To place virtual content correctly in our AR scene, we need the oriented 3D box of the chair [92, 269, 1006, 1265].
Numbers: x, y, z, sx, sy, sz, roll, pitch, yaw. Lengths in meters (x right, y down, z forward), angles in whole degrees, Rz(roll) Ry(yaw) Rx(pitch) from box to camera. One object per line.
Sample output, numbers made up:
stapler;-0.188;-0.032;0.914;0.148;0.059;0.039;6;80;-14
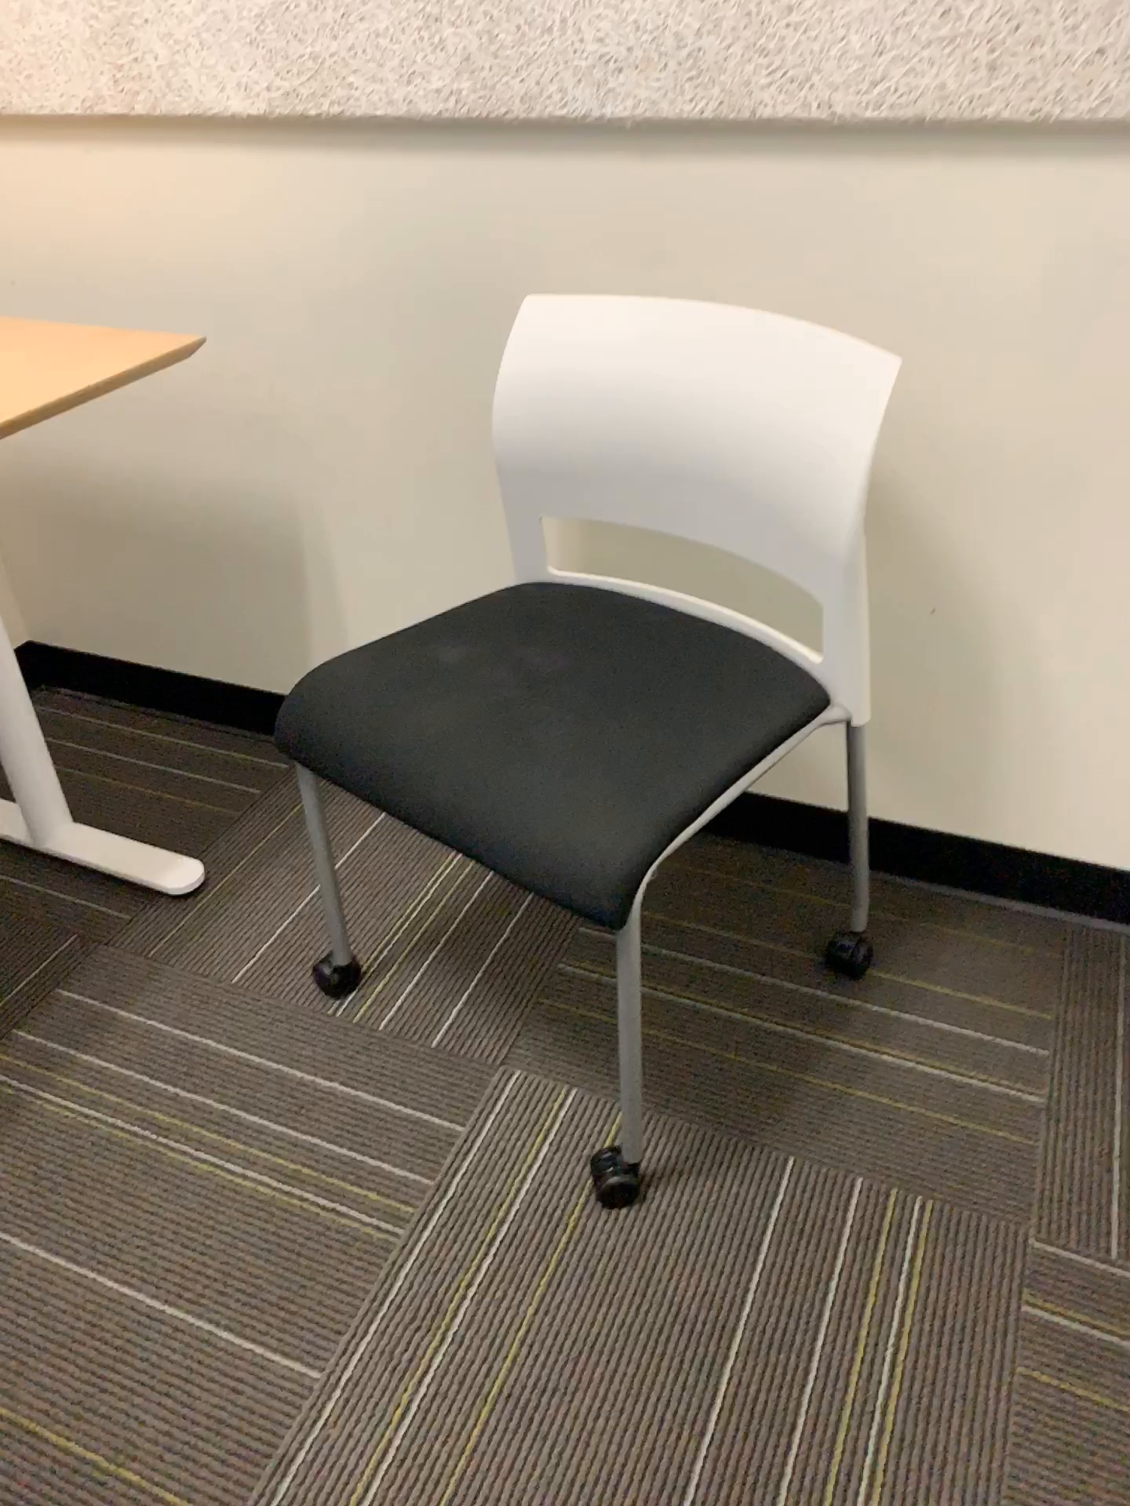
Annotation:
chair;0.015;-0.047;1.317;0.622;0.775;0.621;22;41;31
